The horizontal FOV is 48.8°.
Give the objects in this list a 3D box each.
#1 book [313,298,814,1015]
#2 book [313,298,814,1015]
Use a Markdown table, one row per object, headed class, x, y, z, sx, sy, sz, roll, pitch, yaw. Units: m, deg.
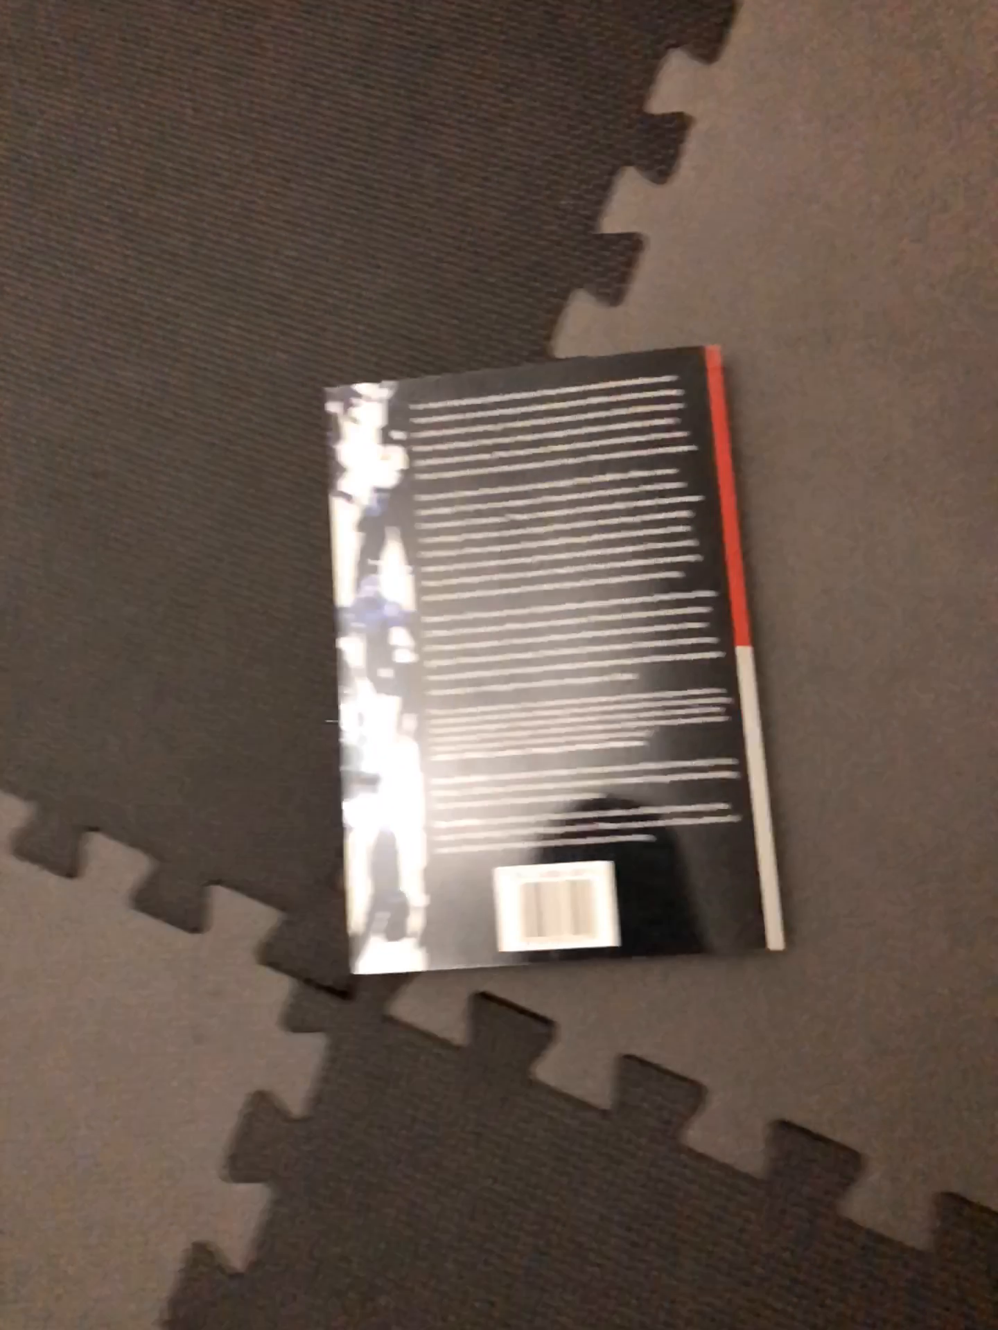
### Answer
| class | x | y | z | sx | sy | sz | roll | pitch | yaw |
| --- | --- | --- | --- | --- | --- | --- | --- | --- | --- |
| book | 0.015 | -0.005 | 0.376 | 0.150 | 0.020 | 0.230 | -5 | 78 | 8 |
| book | 0.015 | -0.005 | 0.376 | 0.150 | 0.020 | 0.230 | -5 | 78 | 8 |
